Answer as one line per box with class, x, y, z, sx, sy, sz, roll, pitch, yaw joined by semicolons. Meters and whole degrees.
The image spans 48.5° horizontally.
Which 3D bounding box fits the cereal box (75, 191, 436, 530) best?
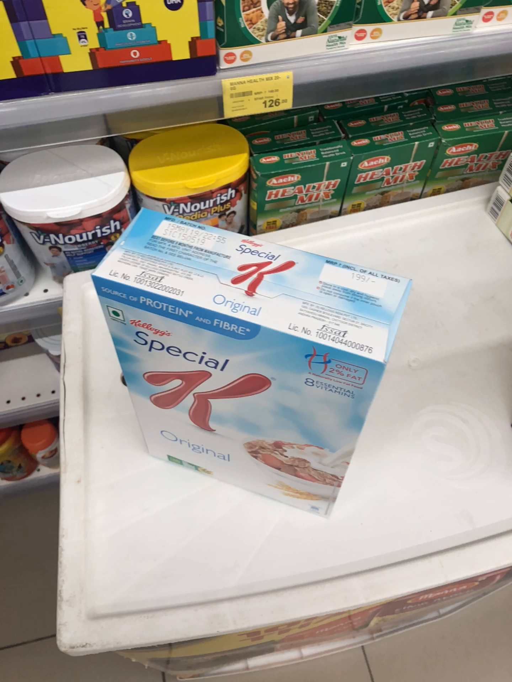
cereal box;-0.002;0.035;0.425;0.190;0.260;0.070;17;56;11
